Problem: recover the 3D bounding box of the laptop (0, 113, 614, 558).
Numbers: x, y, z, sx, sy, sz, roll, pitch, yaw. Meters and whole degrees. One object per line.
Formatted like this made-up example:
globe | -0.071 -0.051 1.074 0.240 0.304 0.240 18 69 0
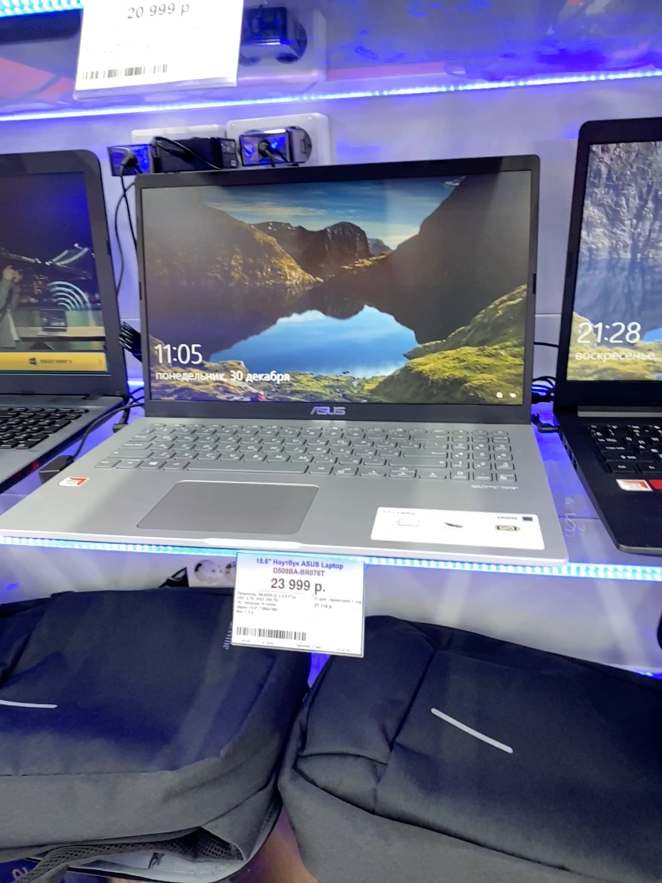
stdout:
laptop | -0.023 -0.090 0.495 0.360 0.216 0.286 1 19 11
